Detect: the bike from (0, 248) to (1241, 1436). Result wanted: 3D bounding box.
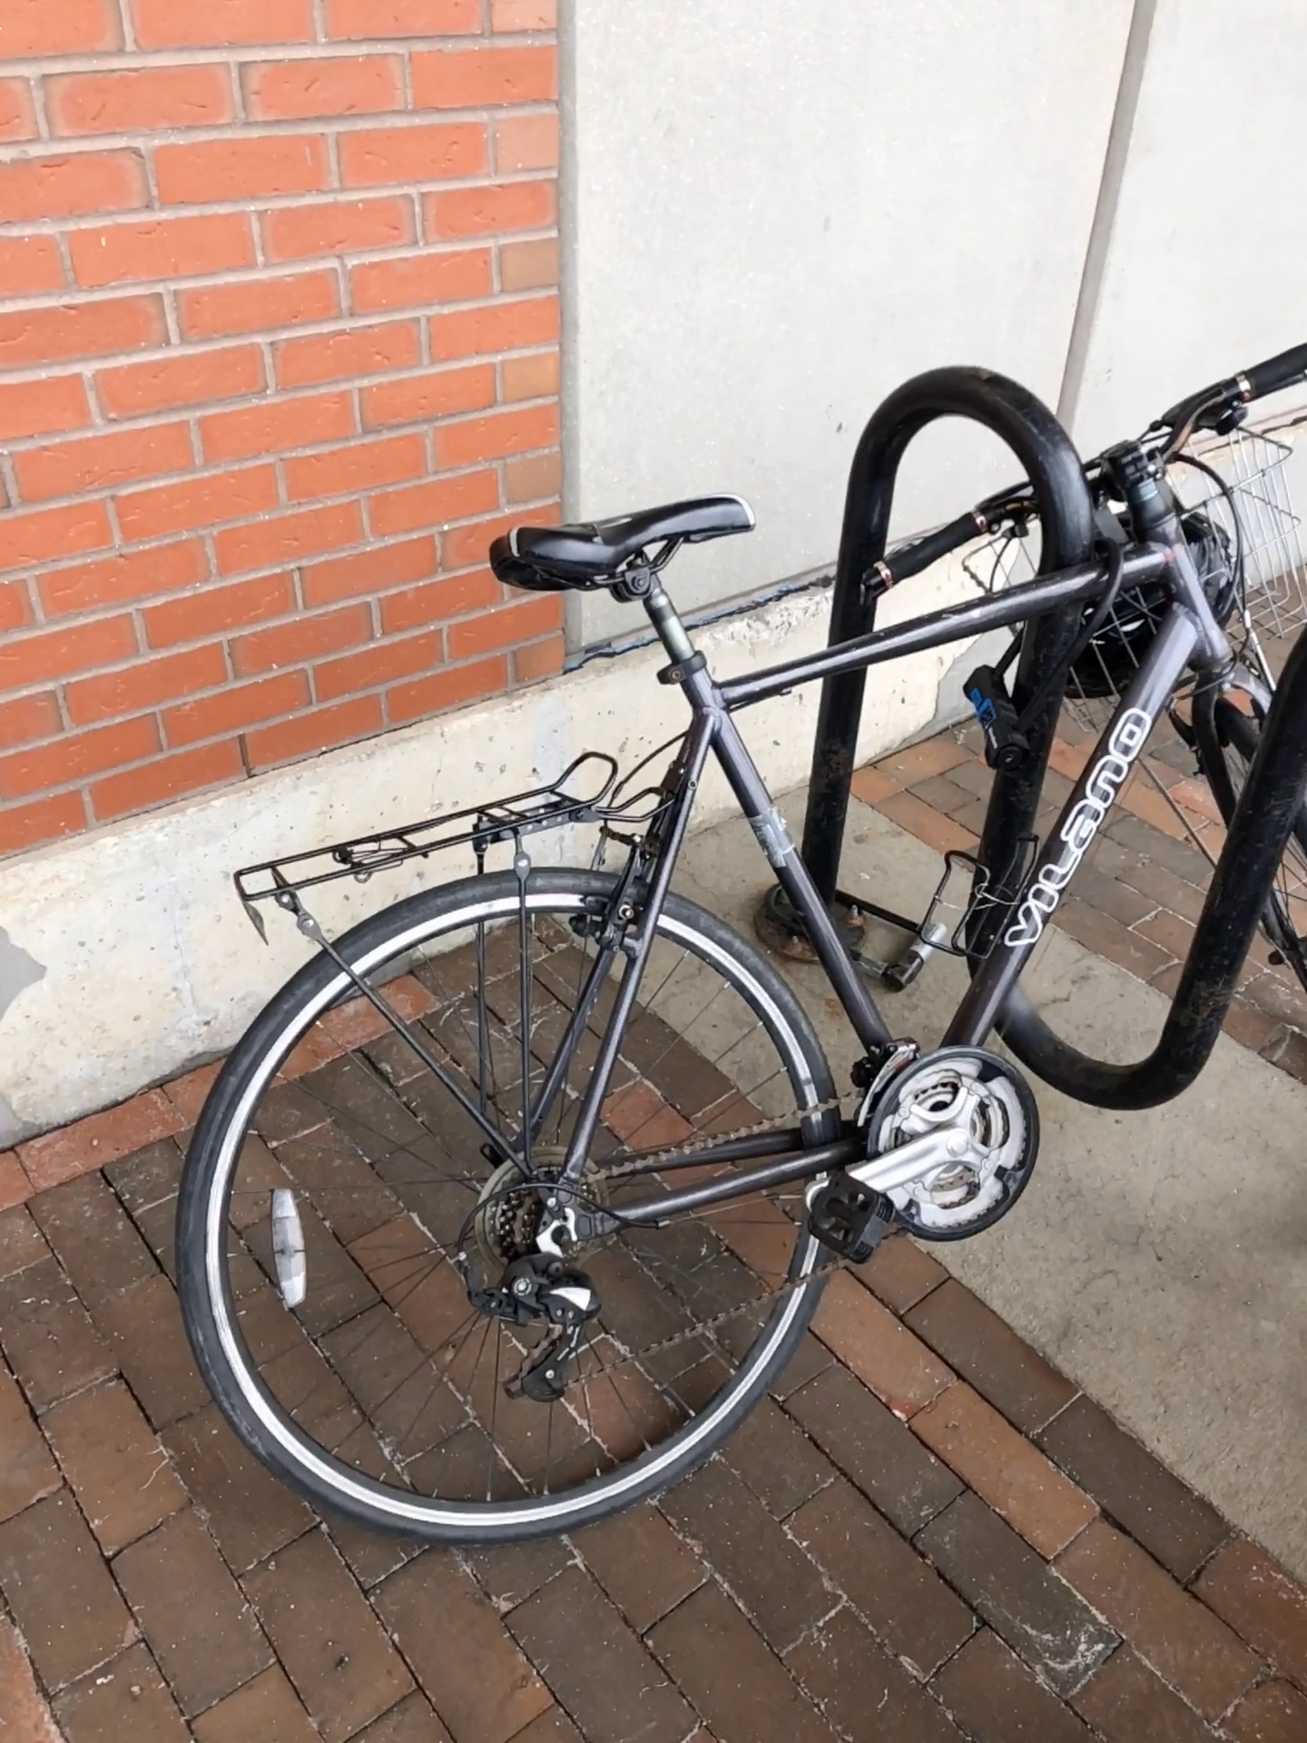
[{"bbox_3d":[-0.050,-0.219,1.753,1.419,0.734,0.745,-23,43,-32],"label":"bike"}]
